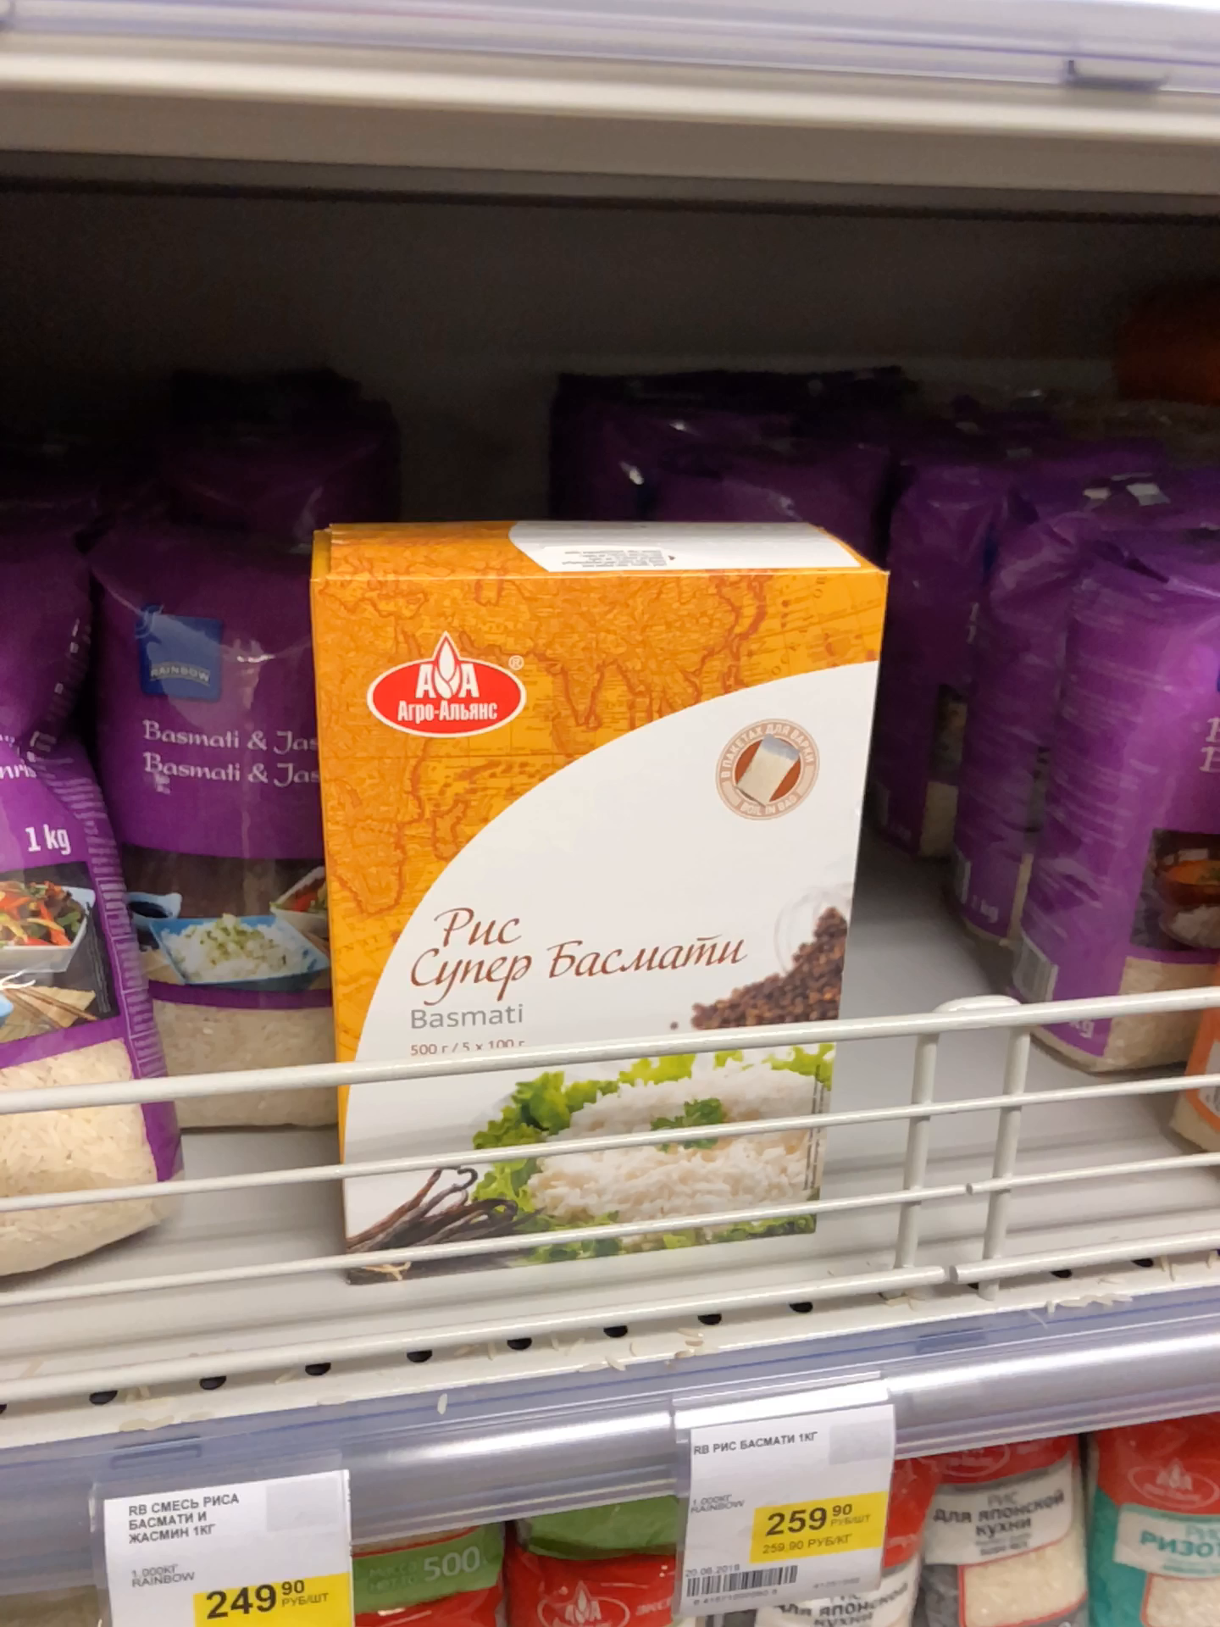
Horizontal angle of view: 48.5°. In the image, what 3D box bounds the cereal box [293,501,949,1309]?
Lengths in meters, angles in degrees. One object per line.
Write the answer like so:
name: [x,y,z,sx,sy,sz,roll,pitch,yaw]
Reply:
cereal box: [-0.001,0.023,0.347,0.140,0.189,0.060,-3,23,-9]
